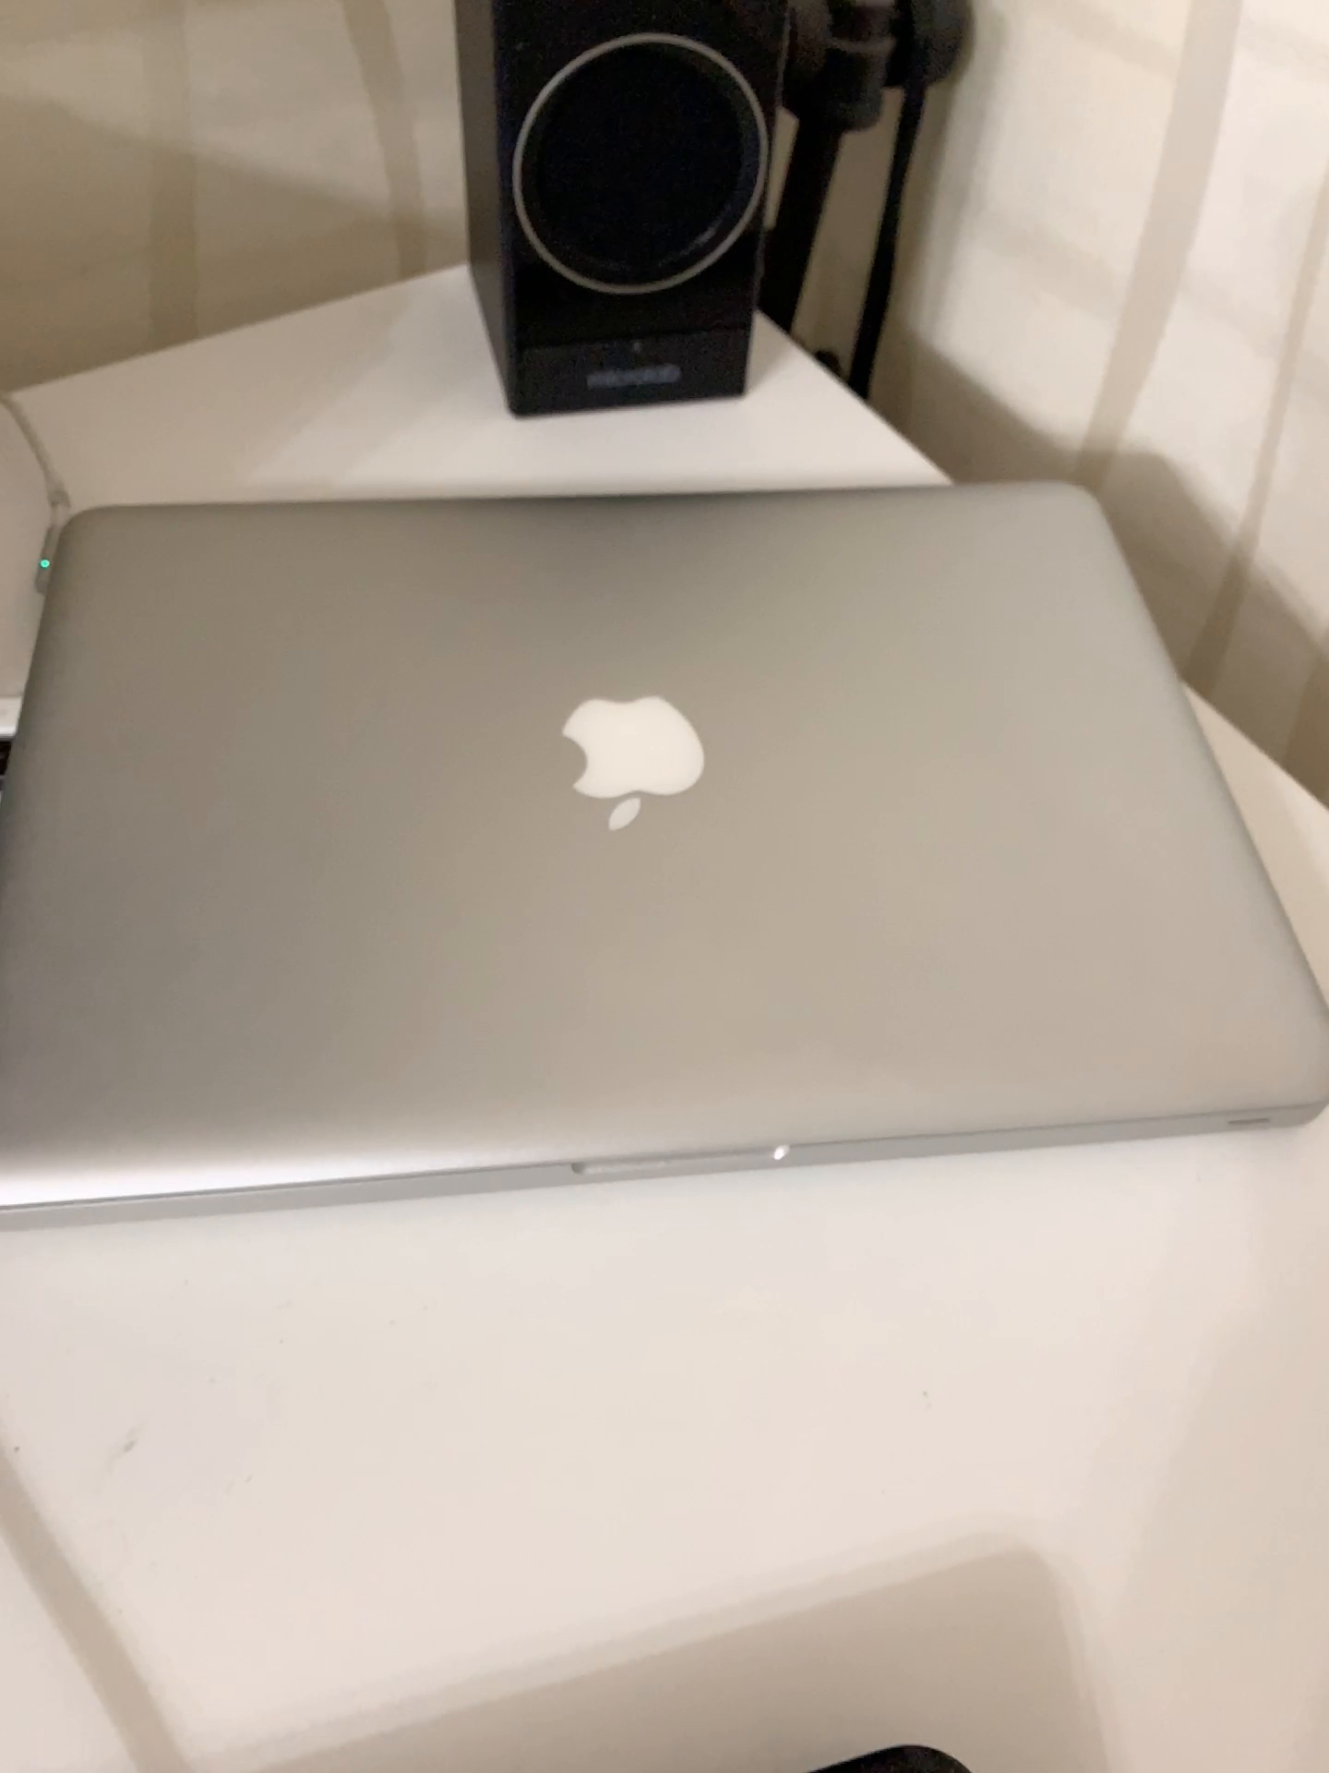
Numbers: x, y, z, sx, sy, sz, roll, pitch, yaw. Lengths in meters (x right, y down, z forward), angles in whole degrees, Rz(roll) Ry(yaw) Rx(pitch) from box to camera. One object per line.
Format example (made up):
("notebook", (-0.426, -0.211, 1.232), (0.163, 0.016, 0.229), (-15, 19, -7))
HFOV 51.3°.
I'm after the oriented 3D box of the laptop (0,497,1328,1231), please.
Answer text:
("laptop", (-0.005, -0.028, 0.368), (0.305, 0.007, 0.219), (-3, 54, -8))
